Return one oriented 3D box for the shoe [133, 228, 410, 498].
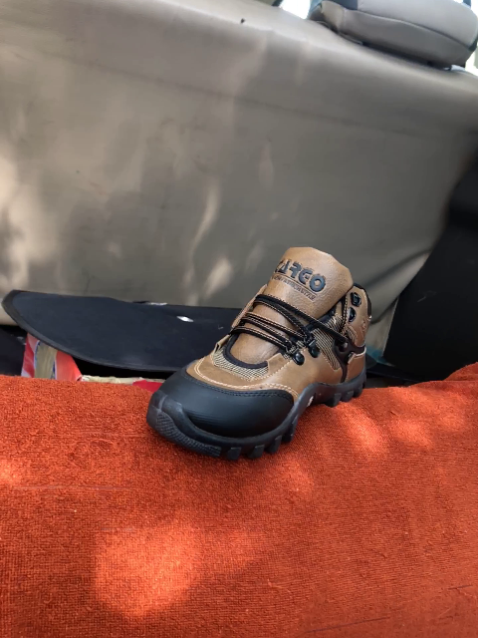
[{"bbox_3d":[0.047,0.011,0.483,0.110,0.149,0.271,22,22,26],"label":"shoe"}]
